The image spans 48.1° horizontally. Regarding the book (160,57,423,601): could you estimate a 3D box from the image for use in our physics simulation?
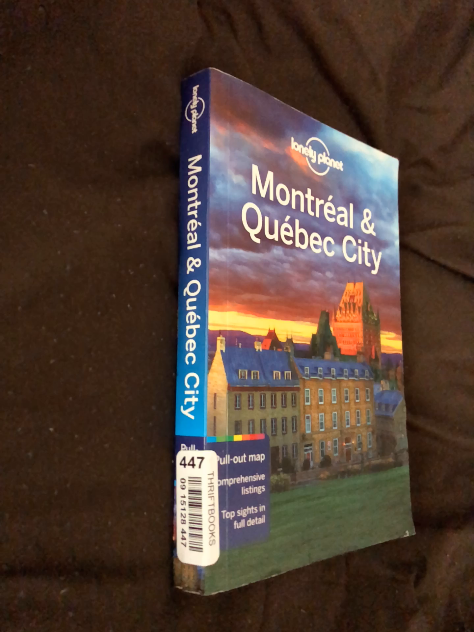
[{"bbox_3d":[0.034,0.006,0.249,0.138,0.023,0.205,7,79,-38],"label":"book"}]
